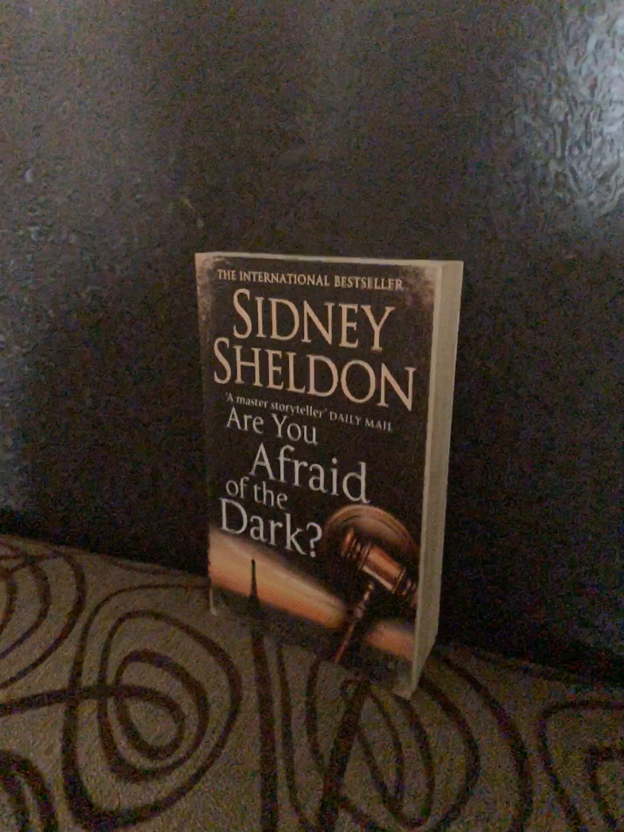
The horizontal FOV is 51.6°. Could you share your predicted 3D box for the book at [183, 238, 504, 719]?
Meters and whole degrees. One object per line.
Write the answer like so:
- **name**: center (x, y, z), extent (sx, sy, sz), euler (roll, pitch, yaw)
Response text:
- **book**: center (0.005, 0.020, 0.280), extent (0.120, 0.179, 0.040), euler (13, 19, 27)
